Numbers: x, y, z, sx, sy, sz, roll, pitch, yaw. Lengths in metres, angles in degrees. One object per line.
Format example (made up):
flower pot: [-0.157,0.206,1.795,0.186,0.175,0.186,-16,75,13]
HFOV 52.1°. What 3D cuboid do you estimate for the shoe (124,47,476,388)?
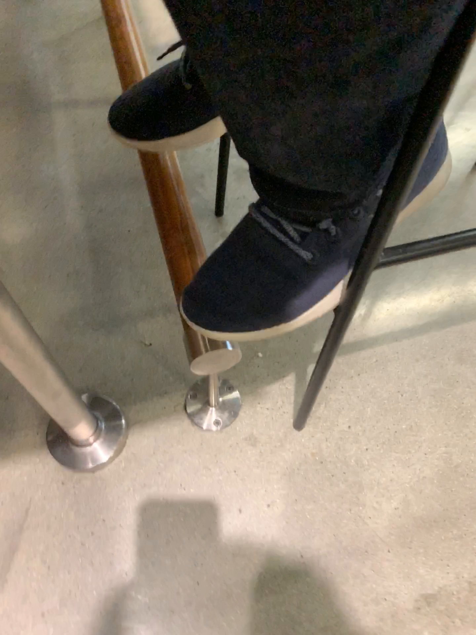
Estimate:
shoe: [0.069,-0.091,0.434,0.299,0.093,0.124,-38,63,-8]

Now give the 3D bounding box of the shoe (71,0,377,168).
shoe: [-0.013,-0.271,0.540,0.300,0.093,0.129,-7,55,8]
